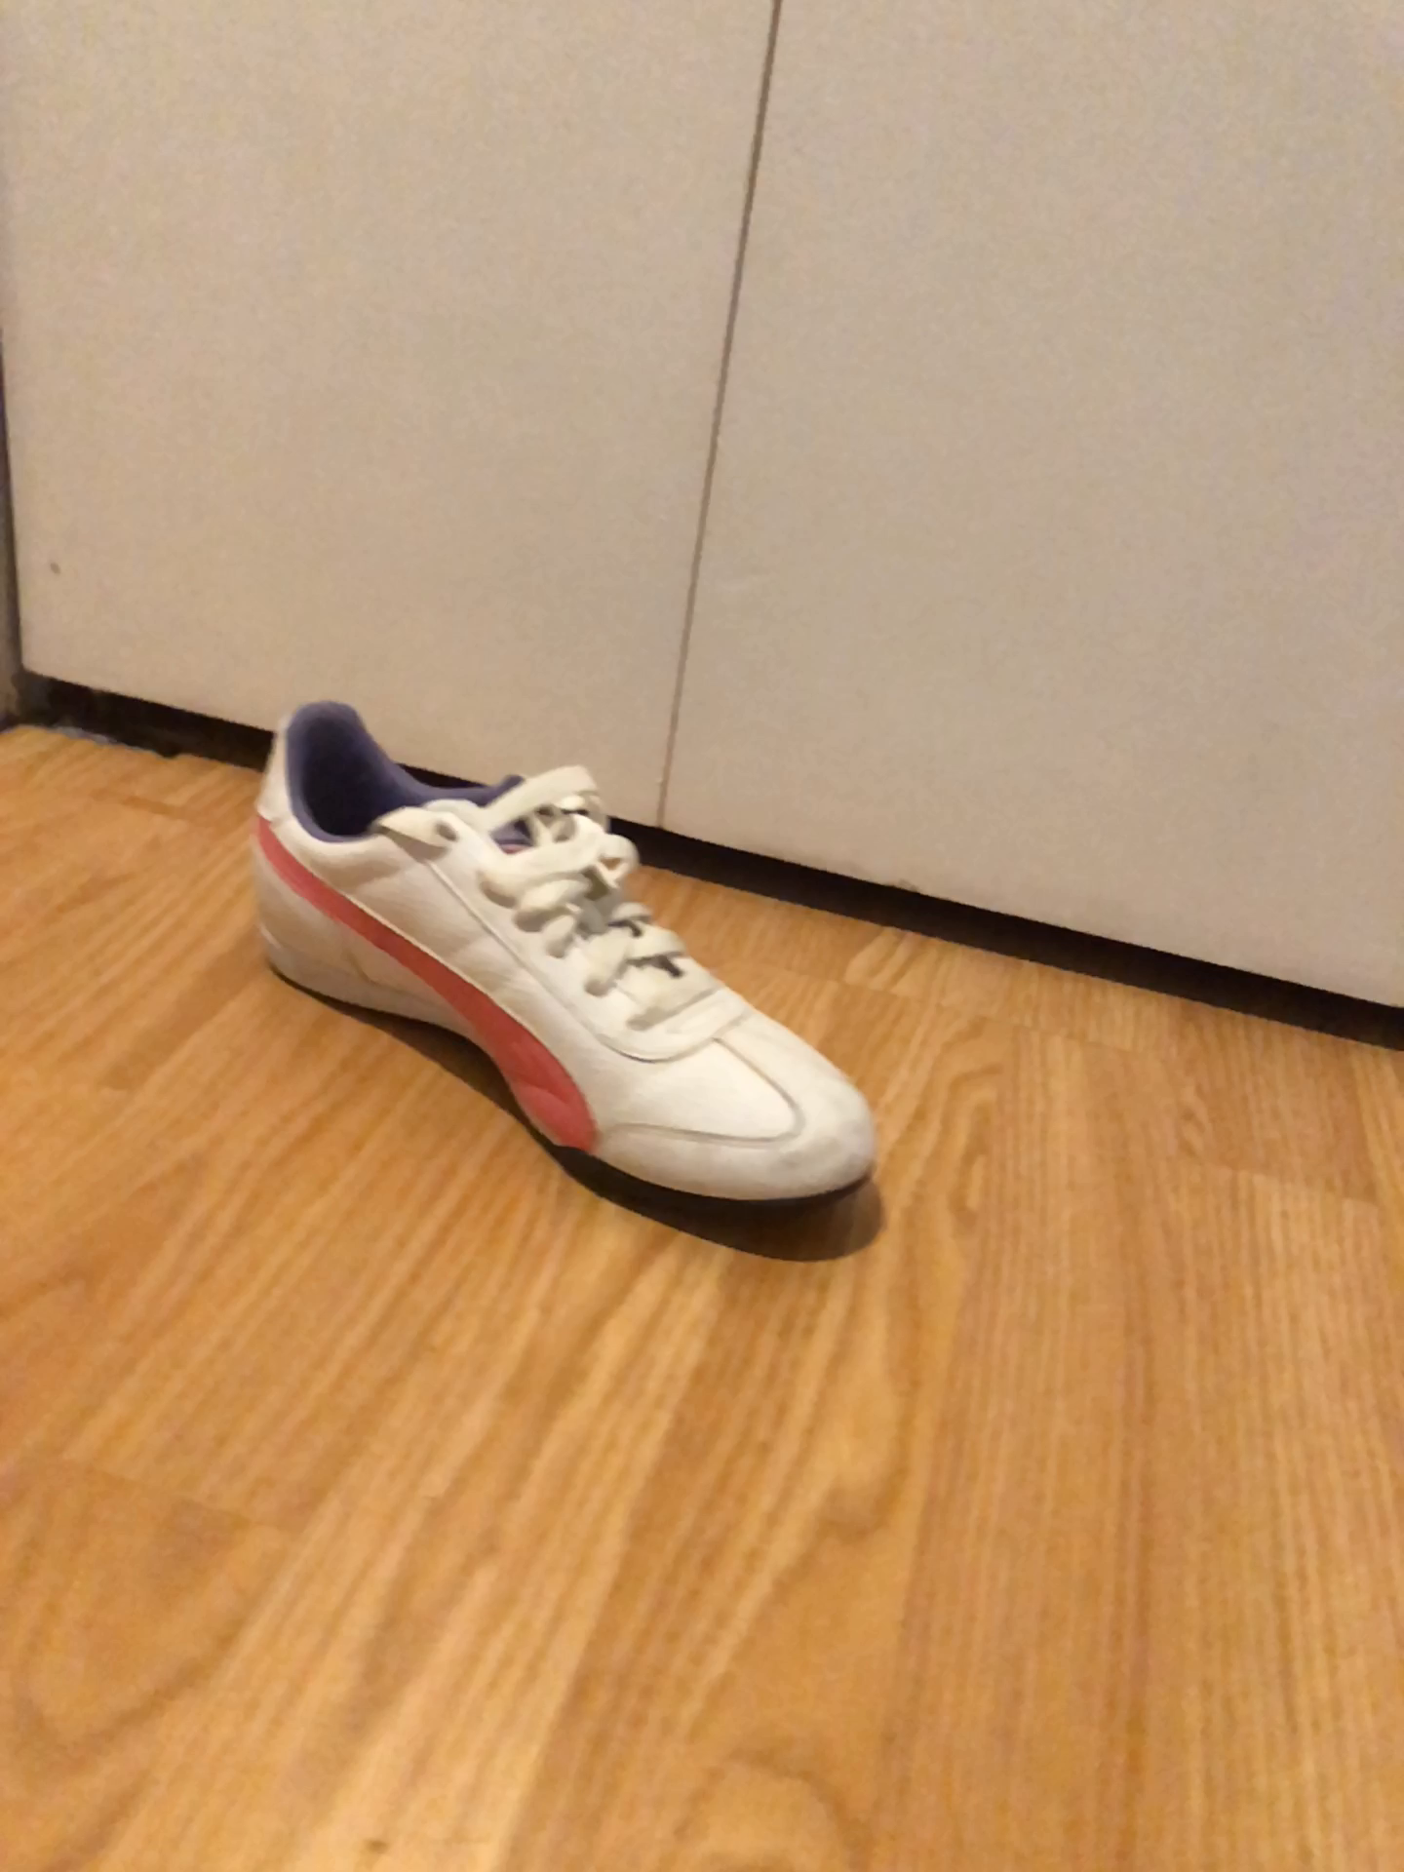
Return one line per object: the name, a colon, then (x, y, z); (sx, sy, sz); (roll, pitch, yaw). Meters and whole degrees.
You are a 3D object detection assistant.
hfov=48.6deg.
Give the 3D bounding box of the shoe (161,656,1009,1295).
shoe: (-0.048, -0.004, 0.500); (0.260, 0.080, 0.100); (26, 32, 28)
